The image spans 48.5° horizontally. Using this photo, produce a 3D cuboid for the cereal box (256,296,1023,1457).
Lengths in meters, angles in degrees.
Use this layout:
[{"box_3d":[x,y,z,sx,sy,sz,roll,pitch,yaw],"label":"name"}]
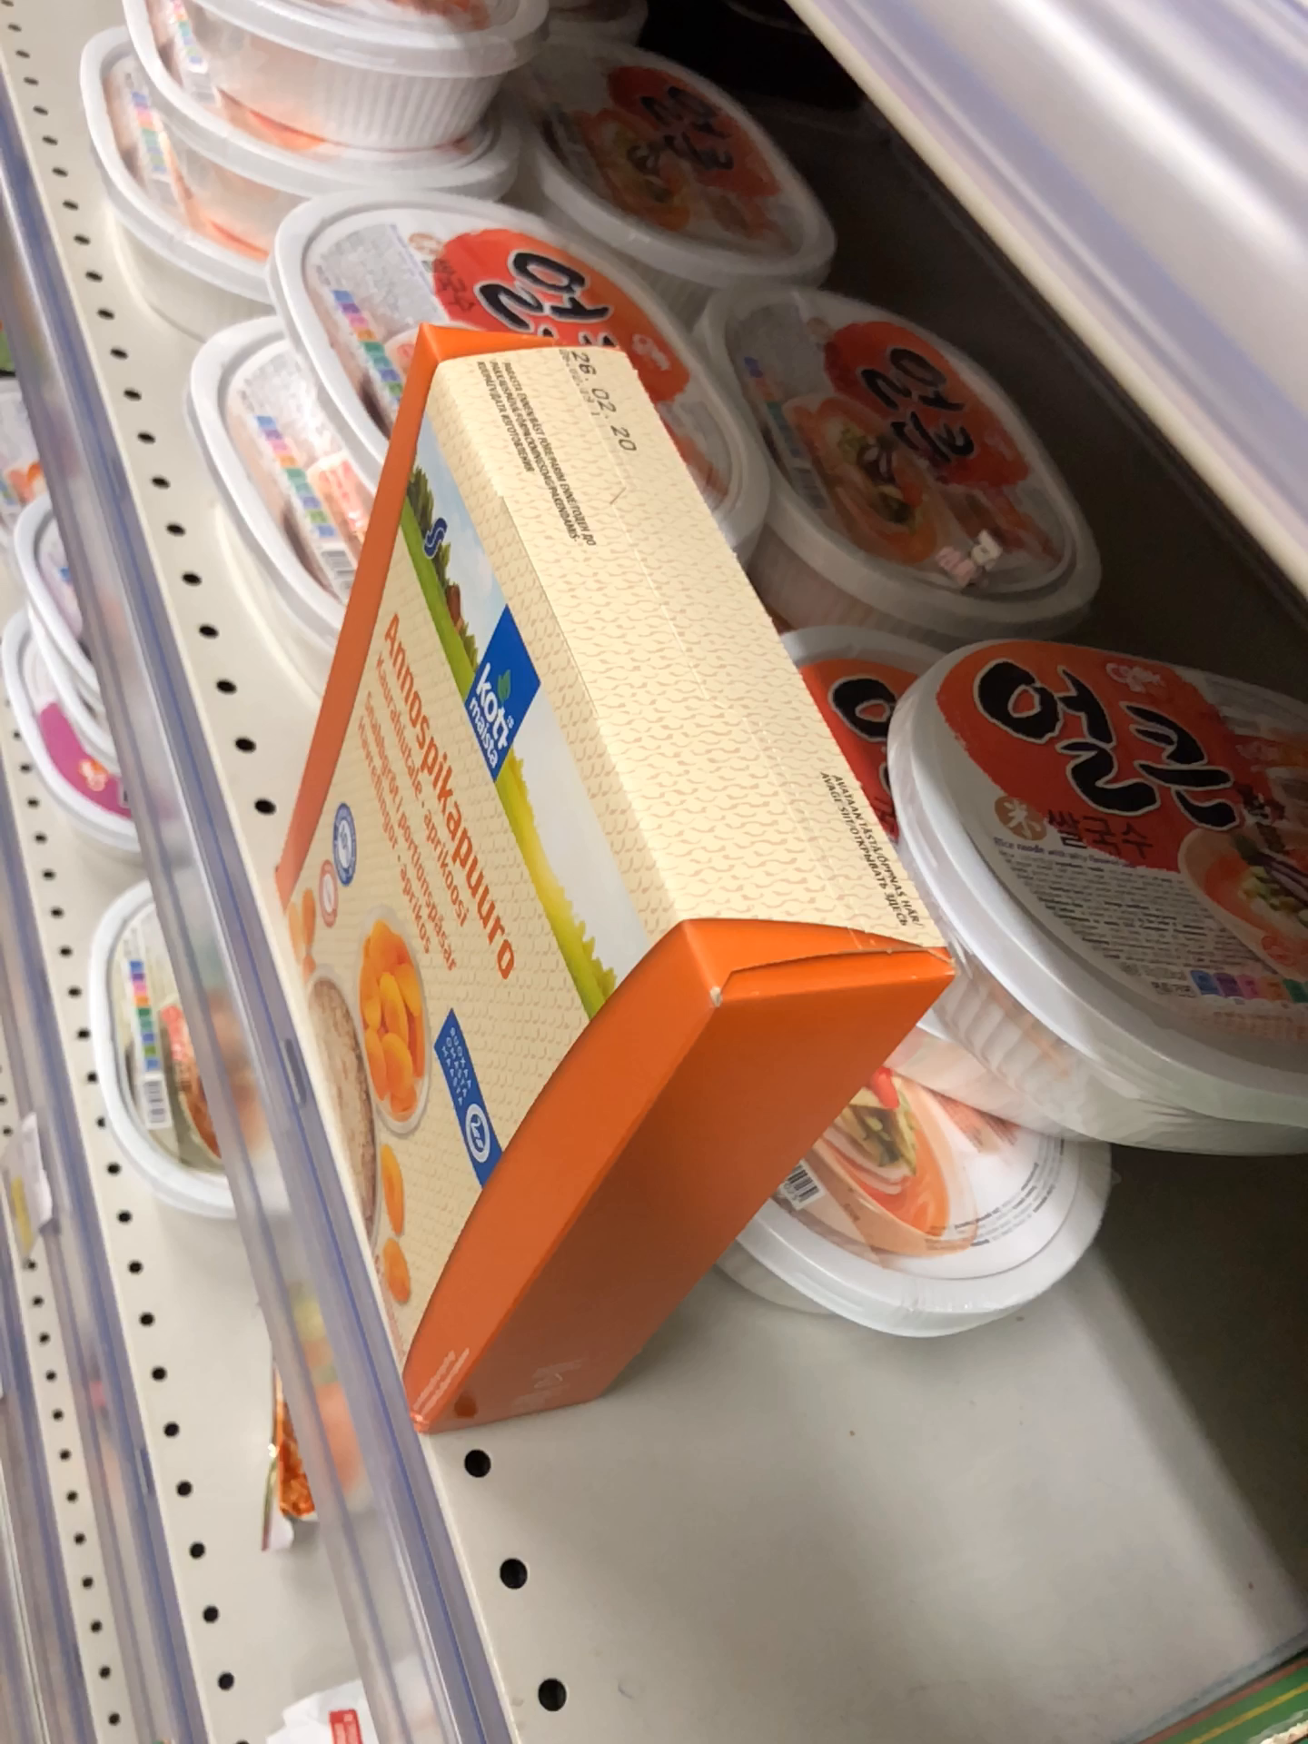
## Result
[{"box_3d":[-0.028,0.006,0.320,0.060,0.179,0.171,-2,52,-29],"label":"cereal box"}]
